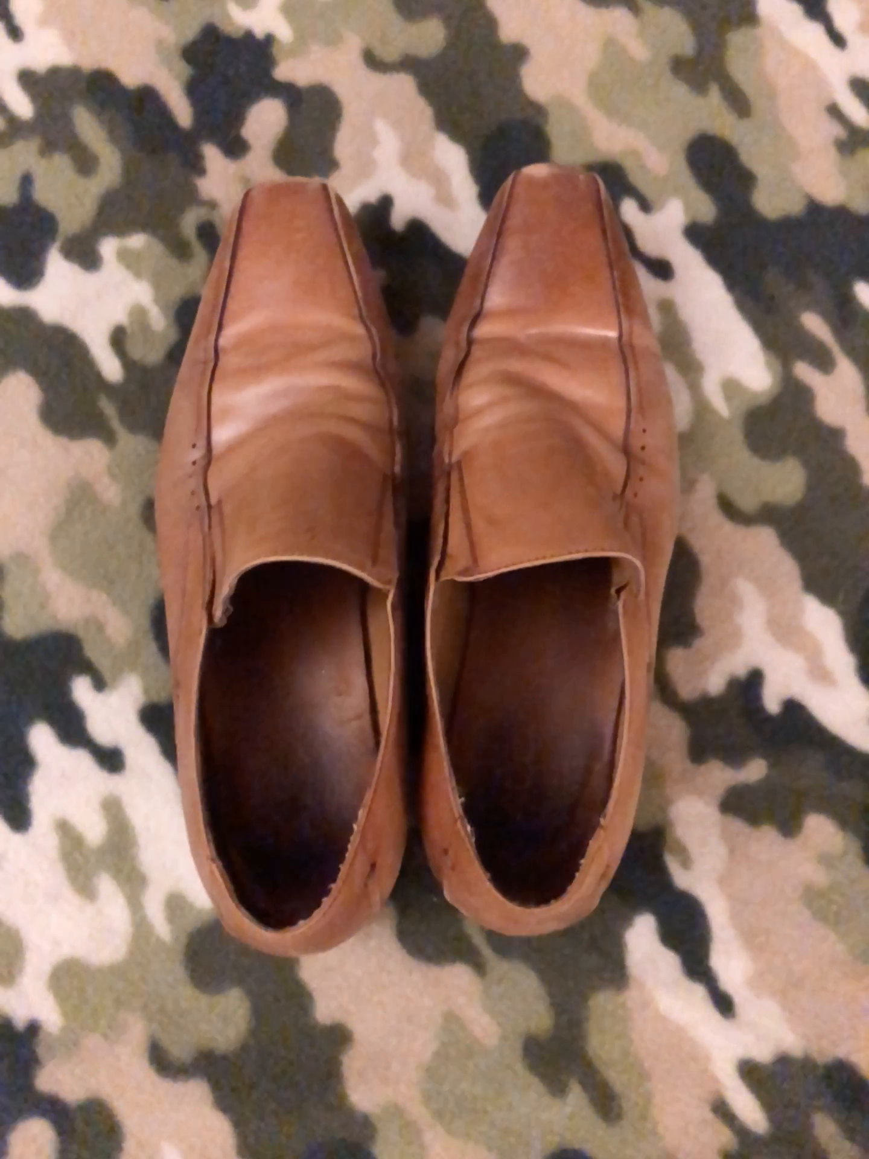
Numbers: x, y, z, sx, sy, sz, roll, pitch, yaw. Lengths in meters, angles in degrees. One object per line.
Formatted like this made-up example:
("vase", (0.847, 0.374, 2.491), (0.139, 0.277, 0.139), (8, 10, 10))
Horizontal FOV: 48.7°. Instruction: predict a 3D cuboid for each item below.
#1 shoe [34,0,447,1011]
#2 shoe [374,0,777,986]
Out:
("shoe", (-0.058, -0.032, 0.347), (0.110, 0.120, 0.320), (-2, 79, 0))
("shoe", (0.048, -0.037, 0.353), (0.110, 0.120, 0.320), (3, 79, 1))
